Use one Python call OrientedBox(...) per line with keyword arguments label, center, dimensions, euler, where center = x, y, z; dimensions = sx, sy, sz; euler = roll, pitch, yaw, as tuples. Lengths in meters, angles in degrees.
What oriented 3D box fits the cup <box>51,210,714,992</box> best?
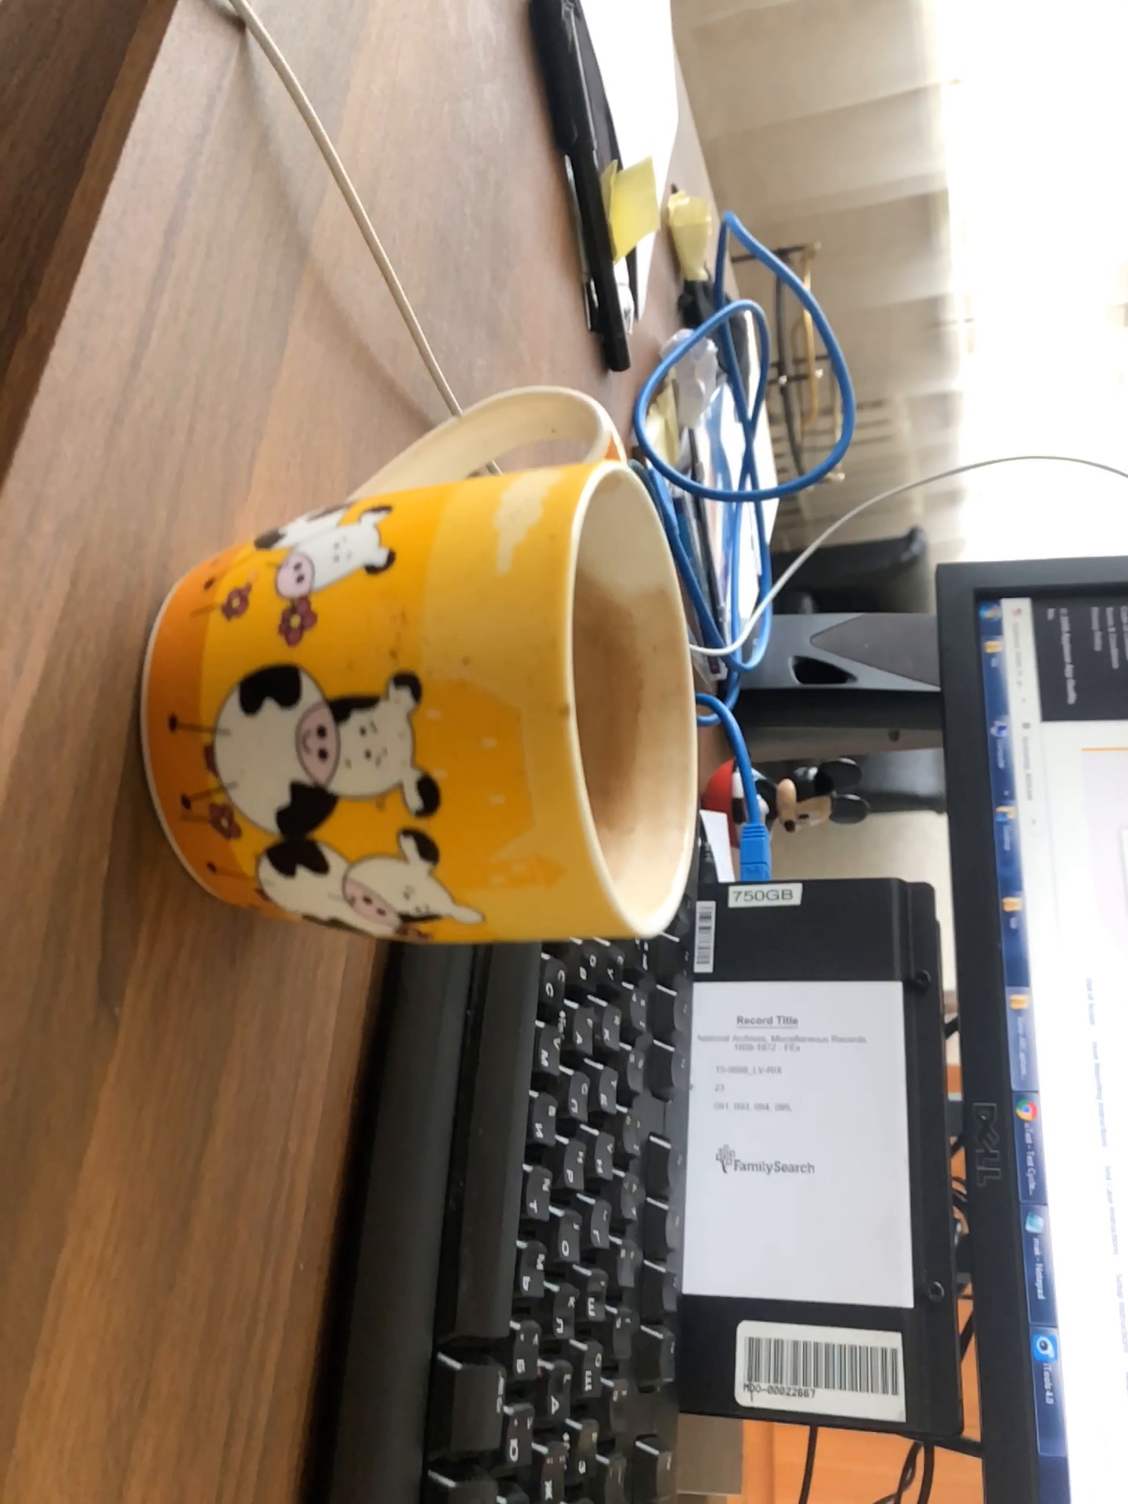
OrientedBox(label="cup", center=(-0.026, -0.026, 0.276), dimensions=(0.092, 0.095, 0.135), euler=(54, 37, -57))
